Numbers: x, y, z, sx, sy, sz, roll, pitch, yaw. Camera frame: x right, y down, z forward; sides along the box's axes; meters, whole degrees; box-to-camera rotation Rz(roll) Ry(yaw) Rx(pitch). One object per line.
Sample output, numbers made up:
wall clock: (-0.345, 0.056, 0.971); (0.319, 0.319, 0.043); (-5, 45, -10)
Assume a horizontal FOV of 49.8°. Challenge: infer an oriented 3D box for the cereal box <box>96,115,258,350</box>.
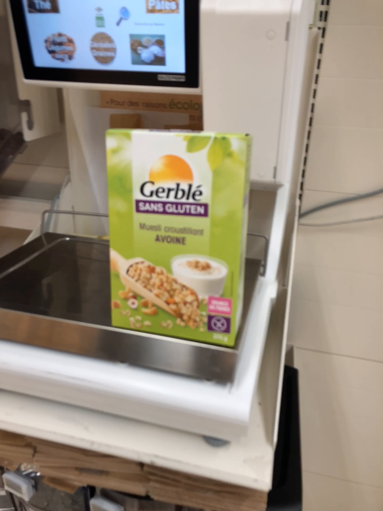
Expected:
cereal box: (-0.015, -0.026, 0.437); (0.150, 0.229, 0.050); (6, 18, 16)
